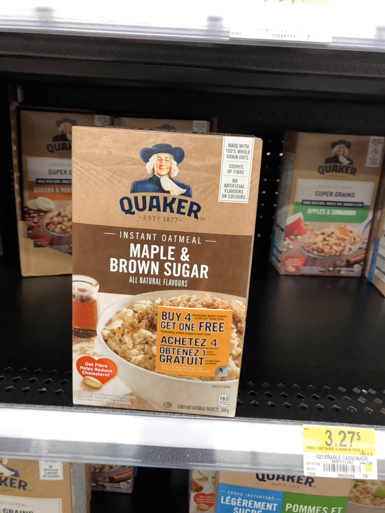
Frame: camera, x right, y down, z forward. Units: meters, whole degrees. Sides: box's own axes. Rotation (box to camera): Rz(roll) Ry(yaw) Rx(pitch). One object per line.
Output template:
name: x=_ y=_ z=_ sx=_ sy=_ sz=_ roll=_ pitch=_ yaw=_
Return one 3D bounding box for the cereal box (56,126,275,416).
cereal box: x=-0.020 y=0.009 z=0.307 sx=0.130 sy=0.189 sz=0.060 roll=4 pitch=16 yaw=2

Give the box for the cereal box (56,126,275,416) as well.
cereal box: x=-0.020 y=0.009 z=0.307 sx=0.130 sy=0.189 sz=0.060 roll=4 pitch=16 yaw=2
